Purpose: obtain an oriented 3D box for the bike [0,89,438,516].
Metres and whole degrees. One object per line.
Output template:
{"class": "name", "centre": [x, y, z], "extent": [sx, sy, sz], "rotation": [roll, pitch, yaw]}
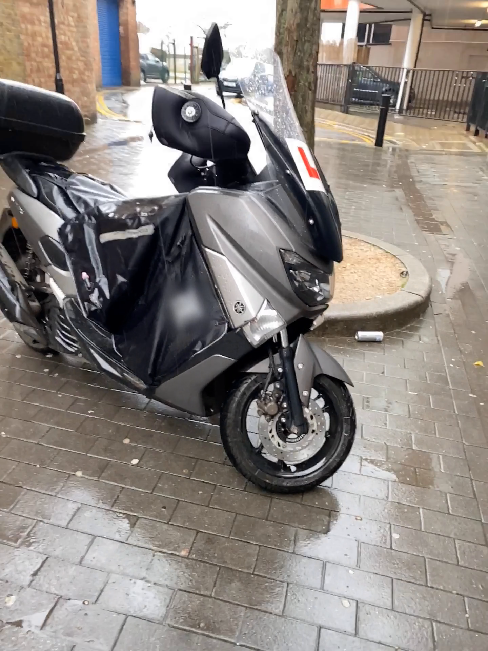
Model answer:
{"class": "bike", "centre": [-0.294, -0.259, 2.021], "extent": [1.733, 1.121, 0.762], "rotation": [17, 30, 24]}
